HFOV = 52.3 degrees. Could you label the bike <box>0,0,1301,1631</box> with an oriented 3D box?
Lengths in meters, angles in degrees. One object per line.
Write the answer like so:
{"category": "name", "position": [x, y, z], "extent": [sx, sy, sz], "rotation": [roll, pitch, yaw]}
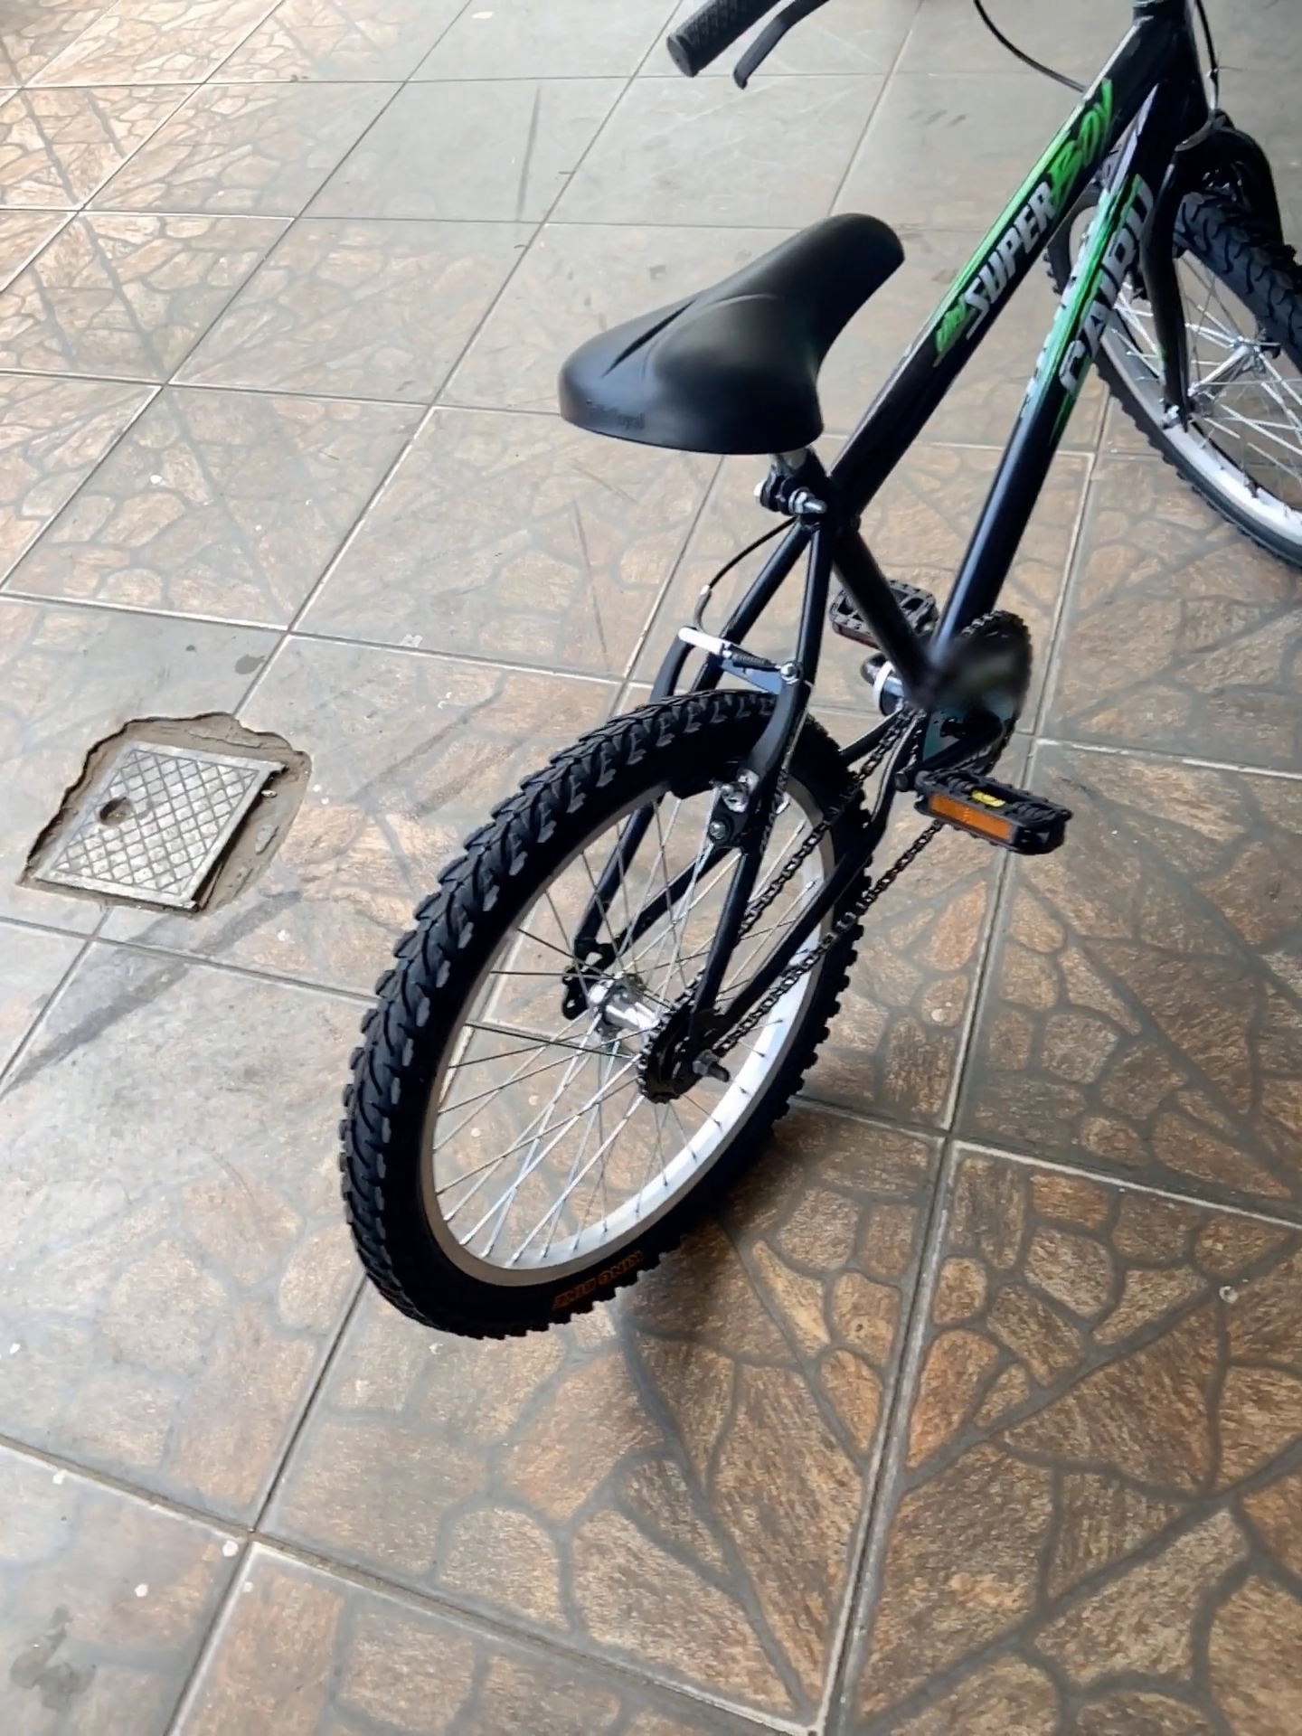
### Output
{"category": "bike", "position": [0.097, -0.298, 1.010], "extent": [0.599, 0.935, 1.273], "rotation": [25, 60, 23]}
